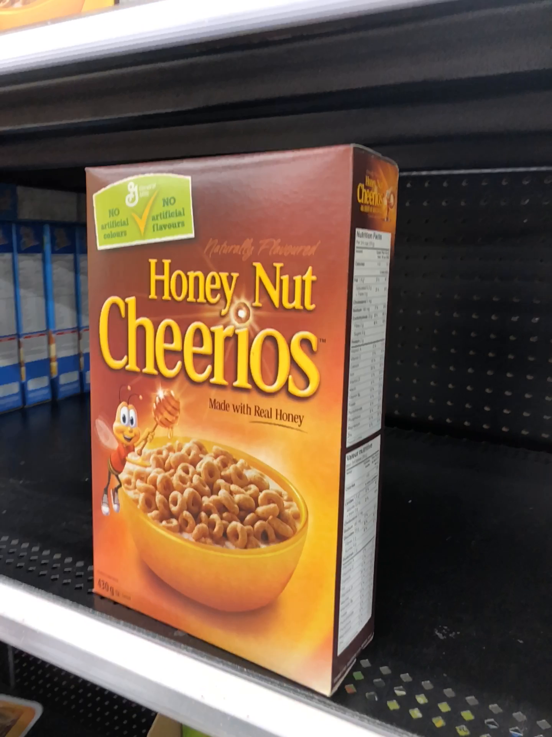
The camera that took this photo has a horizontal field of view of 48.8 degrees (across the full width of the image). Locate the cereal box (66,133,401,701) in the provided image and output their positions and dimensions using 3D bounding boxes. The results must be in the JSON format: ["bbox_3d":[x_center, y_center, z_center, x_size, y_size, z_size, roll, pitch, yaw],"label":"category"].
[{"bbox_3d":[-0.034,0.020,0.394,0.200,0.299,0.070,7,12,32],"label":"cereal box"}]
